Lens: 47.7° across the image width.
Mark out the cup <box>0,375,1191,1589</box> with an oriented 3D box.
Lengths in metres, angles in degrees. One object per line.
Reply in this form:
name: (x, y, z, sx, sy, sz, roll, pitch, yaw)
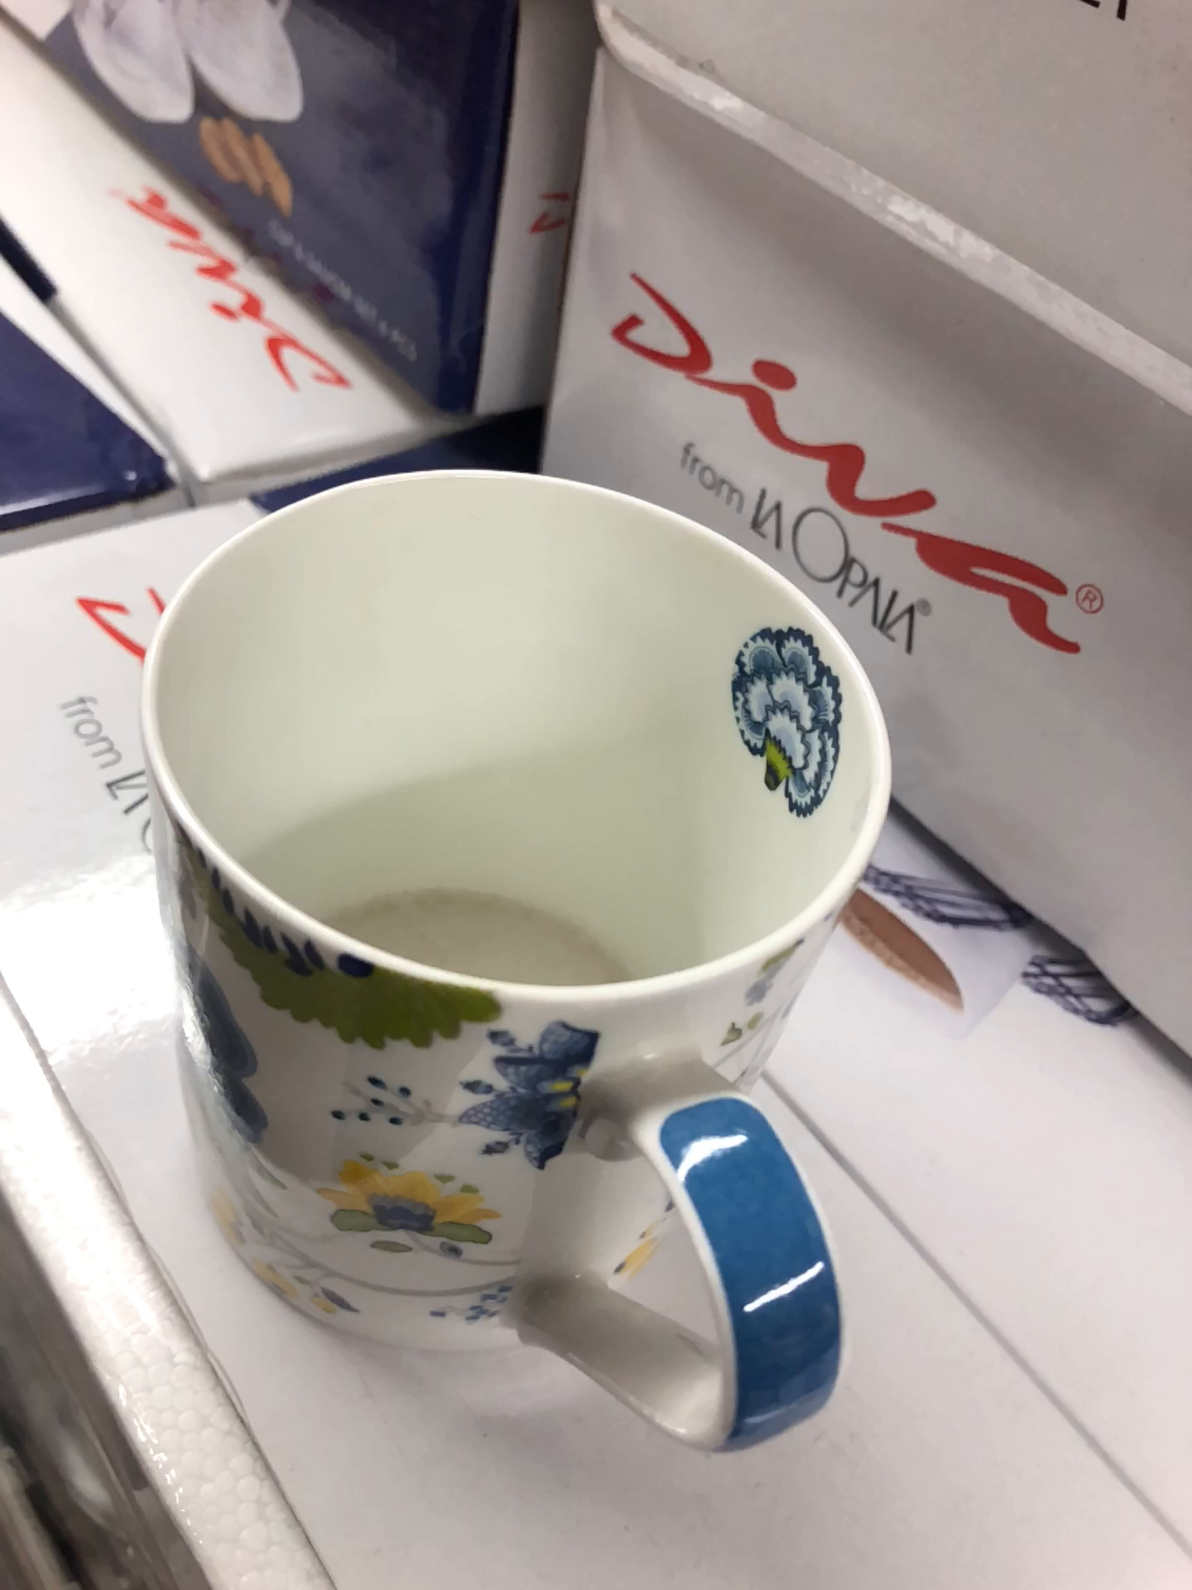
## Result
cup: (-0.010, 0.023, 0.153, 0.080, 0.080, 0.110, -21, 55, -28)
